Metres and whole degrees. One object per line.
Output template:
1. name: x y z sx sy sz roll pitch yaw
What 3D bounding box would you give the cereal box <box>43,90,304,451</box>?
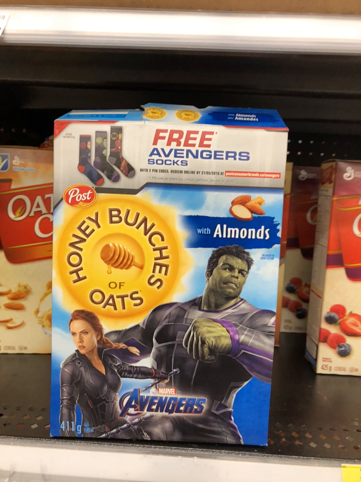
1. cereal box: -0.012 0.027 0.361 0.200 0.289 0.070 3 8 1
